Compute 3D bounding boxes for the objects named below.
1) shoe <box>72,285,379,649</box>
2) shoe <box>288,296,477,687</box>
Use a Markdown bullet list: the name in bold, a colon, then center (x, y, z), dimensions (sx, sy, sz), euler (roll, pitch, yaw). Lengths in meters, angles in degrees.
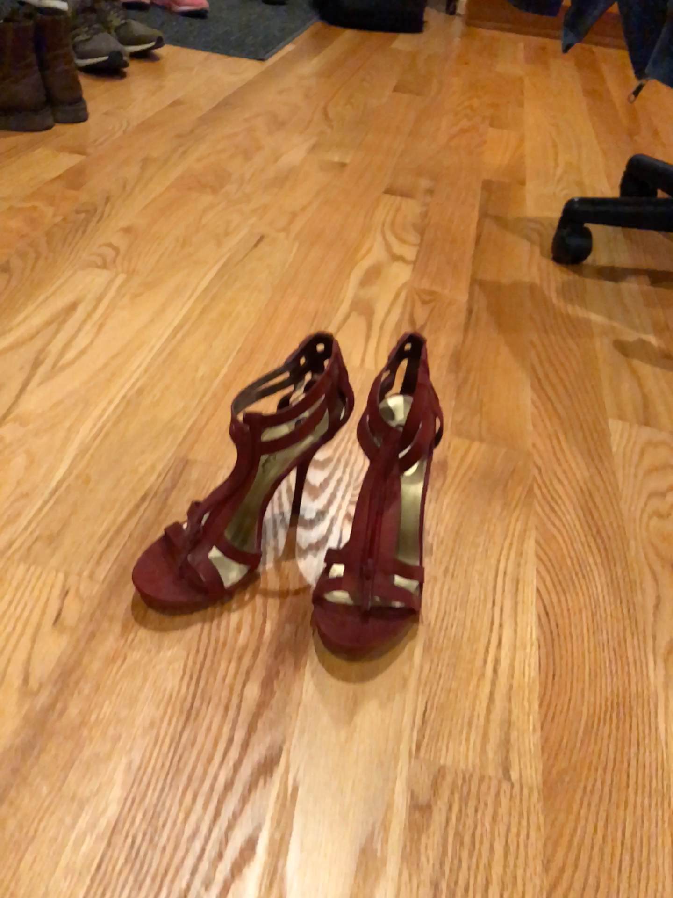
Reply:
- **shoe**: center (-0.072, 0.005, 0.539), dimensions (0.085, 0.175, 0.199), euler (29, 43, 25)
- **shoe**: center (0.036, 0.023, 0.531), dimensions (0.085, 0.175, 0.207), euler (11, 38, 4)
